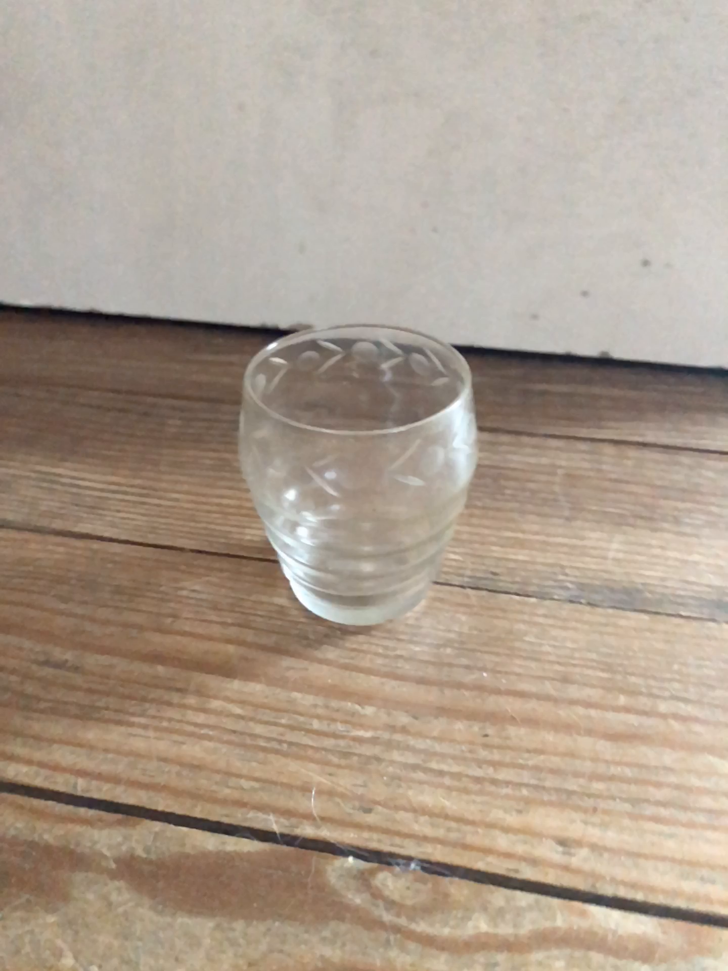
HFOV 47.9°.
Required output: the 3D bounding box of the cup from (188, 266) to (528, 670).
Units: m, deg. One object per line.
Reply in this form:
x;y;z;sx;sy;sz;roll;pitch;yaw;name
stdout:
-0.003;-0.006;0.177;0.050;0.060;0.050;0;37;0;cup
